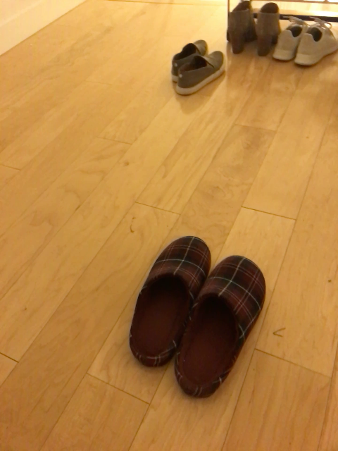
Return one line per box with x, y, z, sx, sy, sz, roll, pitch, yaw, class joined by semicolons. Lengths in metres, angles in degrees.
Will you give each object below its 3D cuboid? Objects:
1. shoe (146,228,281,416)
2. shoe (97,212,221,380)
0.086;0.143;0.616;0.120;0.070;0.282;17;53;22;shoe
-0.002;0.110;0.661;0.120;0.070;0.282;12;51;18;shoe
